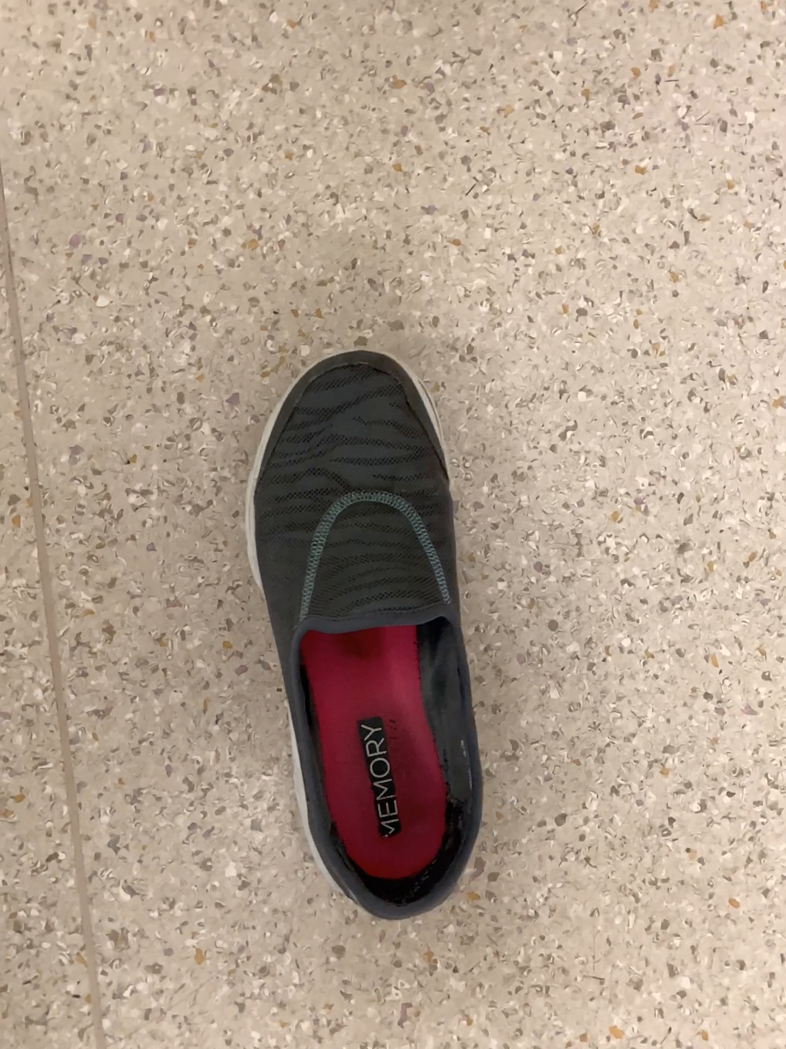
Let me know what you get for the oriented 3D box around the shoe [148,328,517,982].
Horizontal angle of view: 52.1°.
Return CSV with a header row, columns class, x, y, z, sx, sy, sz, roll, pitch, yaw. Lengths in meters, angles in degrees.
class,x,y,z,sx,sy,sz,roll,pitch,yaw
shoe,-0.025,0.050,0.352,0.102,0.075,0.239,-10,89,-4
